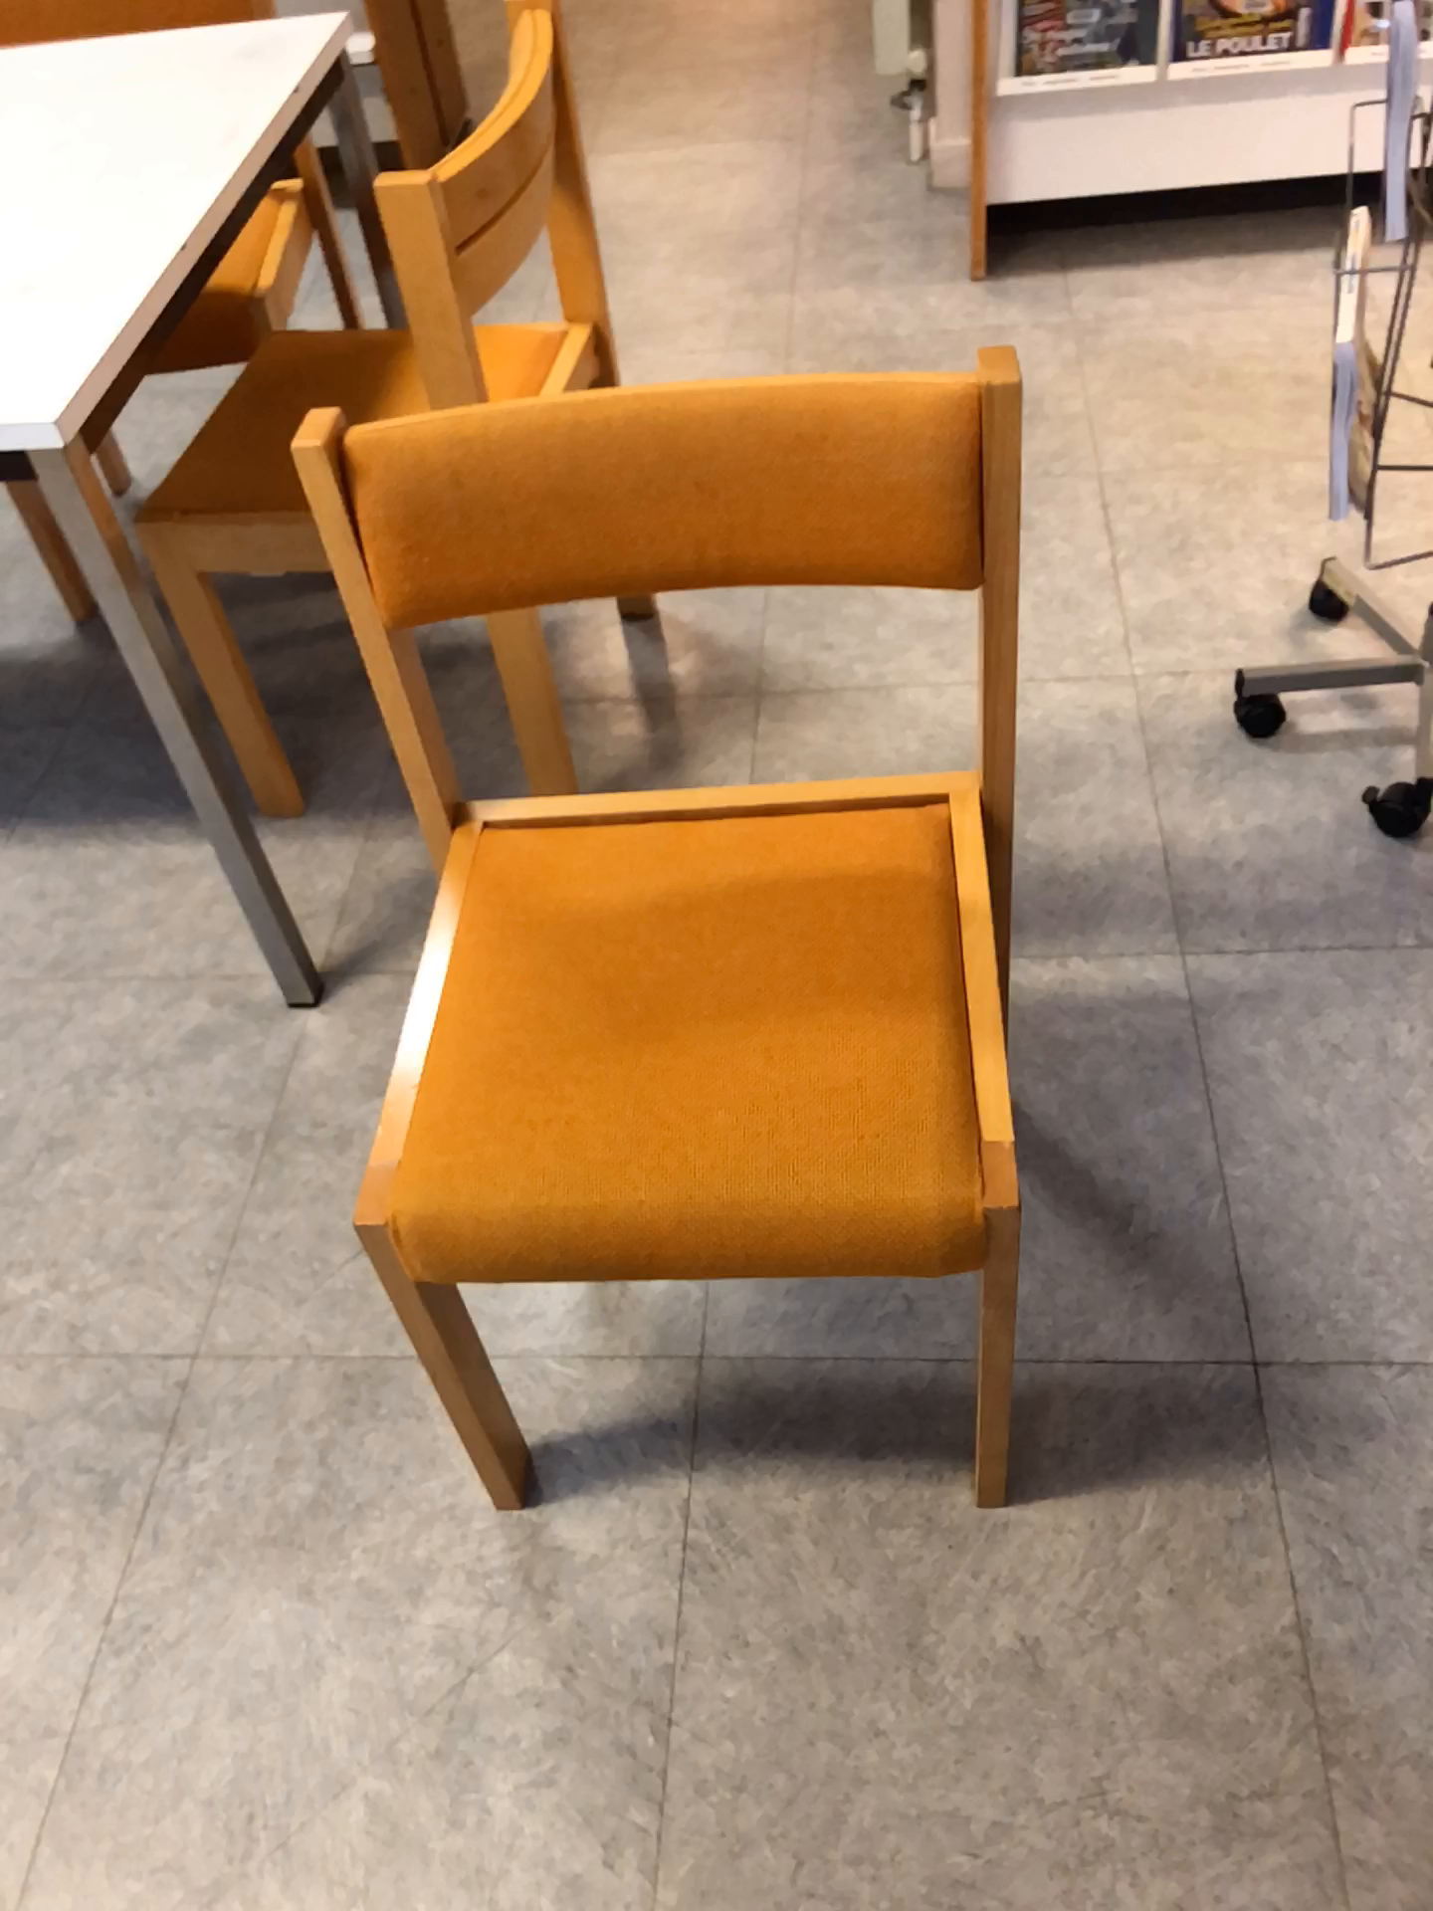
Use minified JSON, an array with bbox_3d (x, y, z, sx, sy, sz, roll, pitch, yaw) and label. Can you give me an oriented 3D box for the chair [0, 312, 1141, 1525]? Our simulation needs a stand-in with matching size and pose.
[{"bbox_3d":[-0.031,0.012,1.147,0.550,0.696,0.523,-2,46,7],"label":"chair"}]
